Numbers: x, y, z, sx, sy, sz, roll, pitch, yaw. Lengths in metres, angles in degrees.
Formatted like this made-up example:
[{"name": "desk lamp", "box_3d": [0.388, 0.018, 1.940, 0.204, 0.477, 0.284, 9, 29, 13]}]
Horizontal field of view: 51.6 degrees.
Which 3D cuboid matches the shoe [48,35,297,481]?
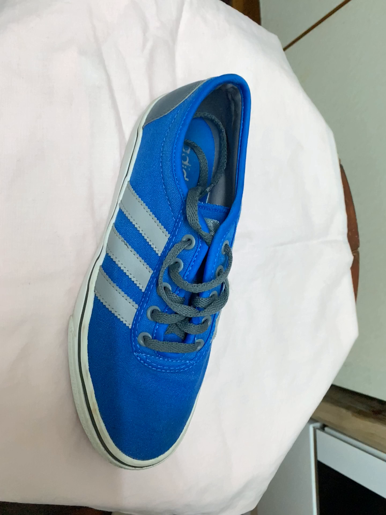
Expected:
[{"name": "shoe", "box_3d": [-0.014, 0.004, 0.267, 0.100, 0.090, 0.234, 13, 82, -26]}]
